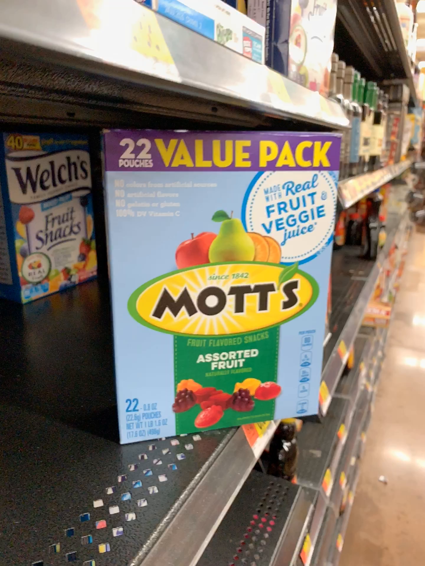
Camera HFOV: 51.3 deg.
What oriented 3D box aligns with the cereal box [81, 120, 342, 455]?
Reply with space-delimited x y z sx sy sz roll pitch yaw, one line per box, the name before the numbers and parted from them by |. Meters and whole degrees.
cereal box | -0.004 0.002 0.355 0.180 0.239 0.060 -4 17 -16
